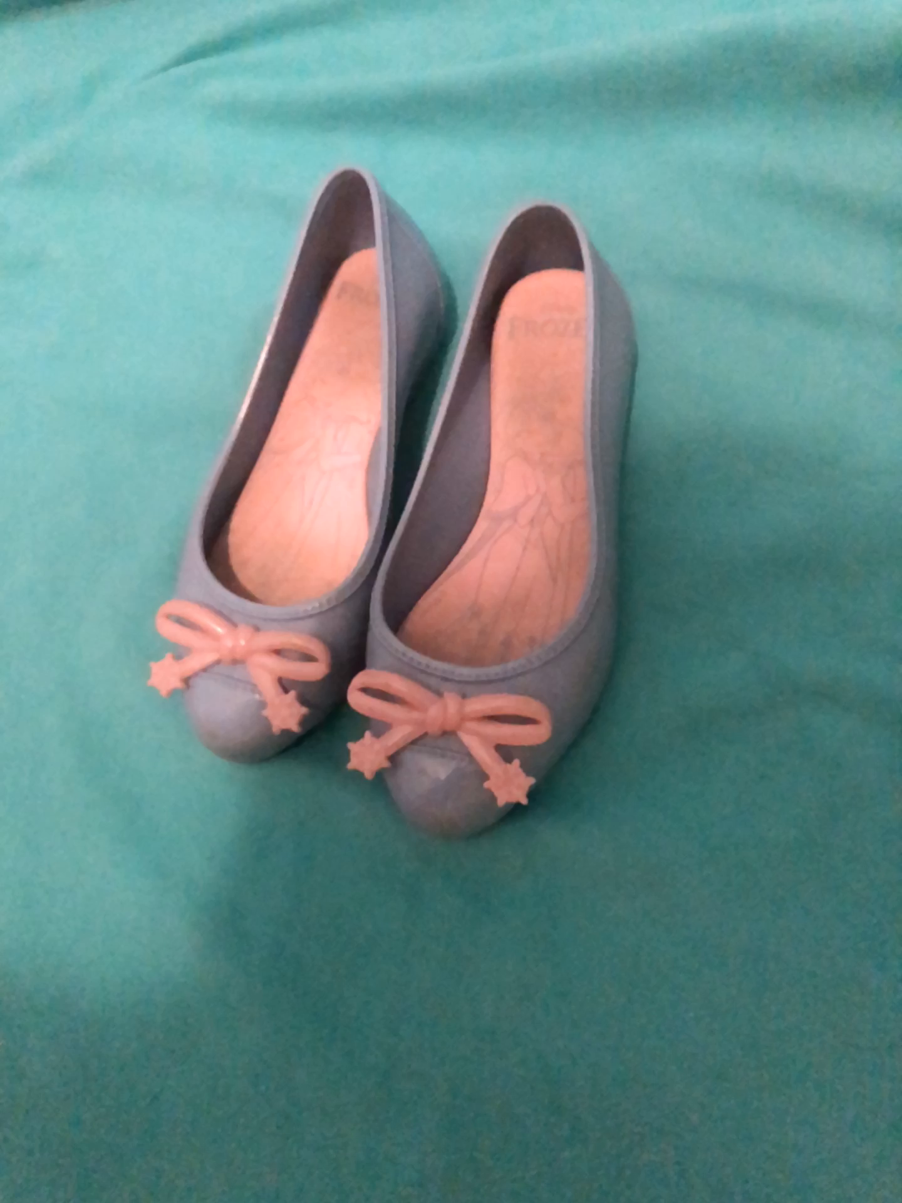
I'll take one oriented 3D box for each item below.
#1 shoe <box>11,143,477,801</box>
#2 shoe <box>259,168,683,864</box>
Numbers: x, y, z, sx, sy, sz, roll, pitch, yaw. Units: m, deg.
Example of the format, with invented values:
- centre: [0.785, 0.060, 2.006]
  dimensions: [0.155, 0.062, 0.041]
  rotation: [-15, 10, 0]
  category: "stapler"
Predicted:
- centre: [-0.054, -0.044, 0.314]
  dimensions: [0.080, 0.060, 0.190]
  rotation: [7, 73, 15]
  category: "shoe"
- centre: [0.015, -0.029, 0.298]
  dimensions: [0.080, 0.060, 0.190]
  rotation: [7, 73, 15]
  category: "shoe"
